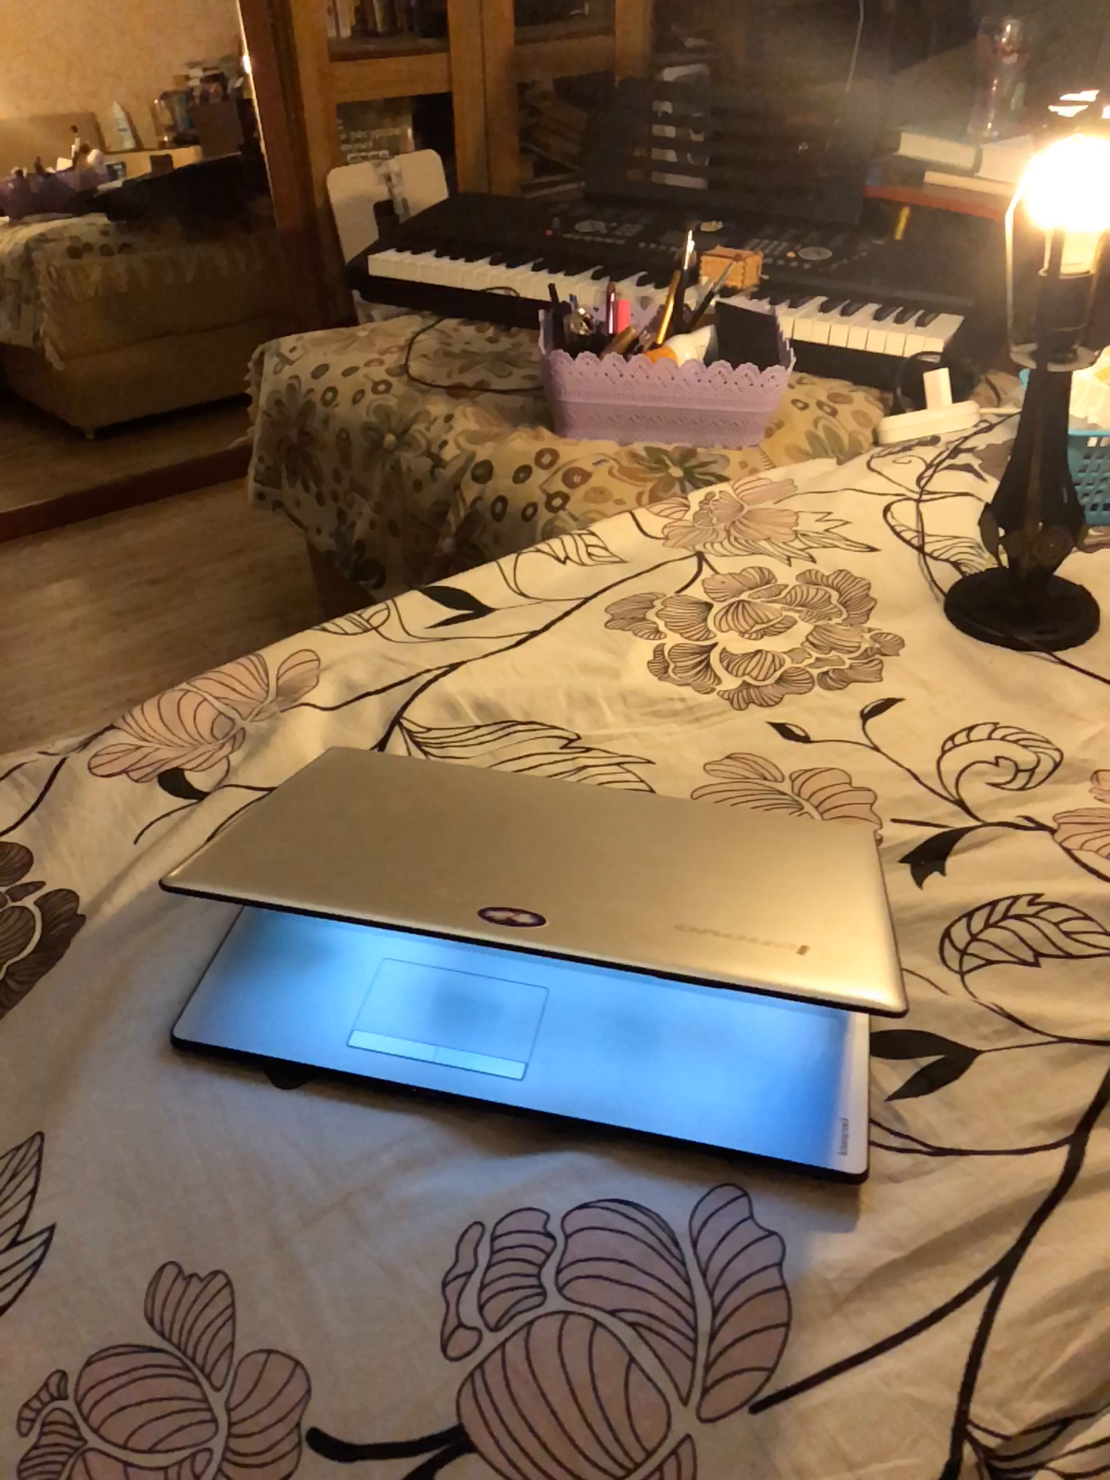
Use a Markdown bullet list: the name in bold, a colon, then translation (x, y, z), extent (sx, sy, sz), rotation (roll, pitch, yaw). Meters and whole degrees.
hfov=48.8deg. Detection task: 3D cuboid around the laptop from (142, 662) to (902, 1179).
- **laptop**: translation (-0.002, 0.080, 0.714), extent (0.380, 0.082, 0.258), rotation (7, 37, 11)
